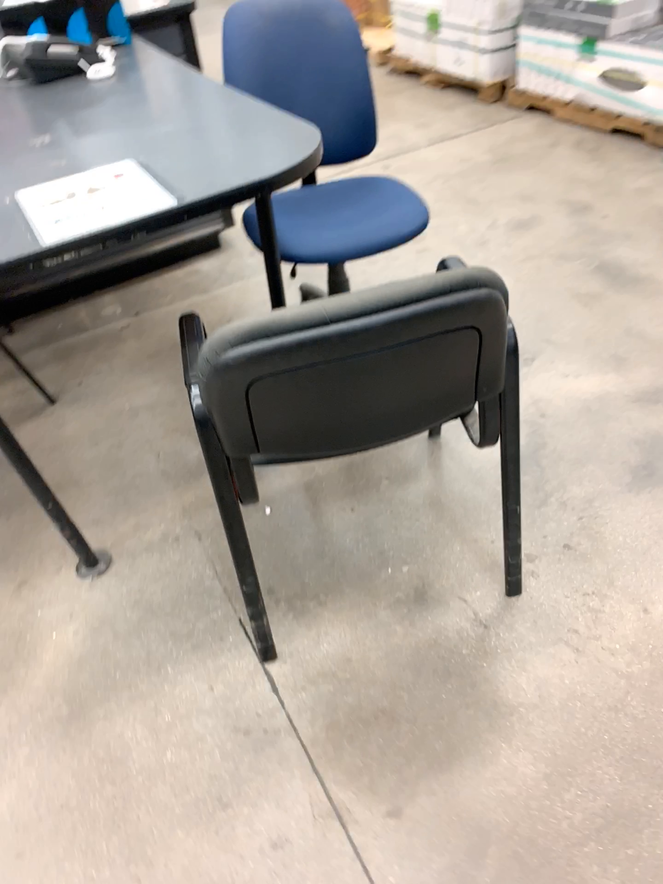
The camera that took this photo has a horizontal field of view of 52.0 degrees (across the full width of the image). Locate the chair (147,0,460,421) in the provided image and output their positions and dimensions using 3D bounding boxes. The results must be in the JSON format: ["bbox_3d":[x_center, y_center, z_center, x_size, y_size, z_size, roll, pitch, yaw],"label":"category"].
[{"bbox_3d":[-0.071,-0.701,1.953,0.643,0.917,0.719,-13,42,-5],"label":"chair"}]

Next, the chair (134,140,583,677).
[{"bbox_3d":[0.023,-0.066,1.351,0.604,0.749,0.588,-13,42,-5],"label":"chair"}]
